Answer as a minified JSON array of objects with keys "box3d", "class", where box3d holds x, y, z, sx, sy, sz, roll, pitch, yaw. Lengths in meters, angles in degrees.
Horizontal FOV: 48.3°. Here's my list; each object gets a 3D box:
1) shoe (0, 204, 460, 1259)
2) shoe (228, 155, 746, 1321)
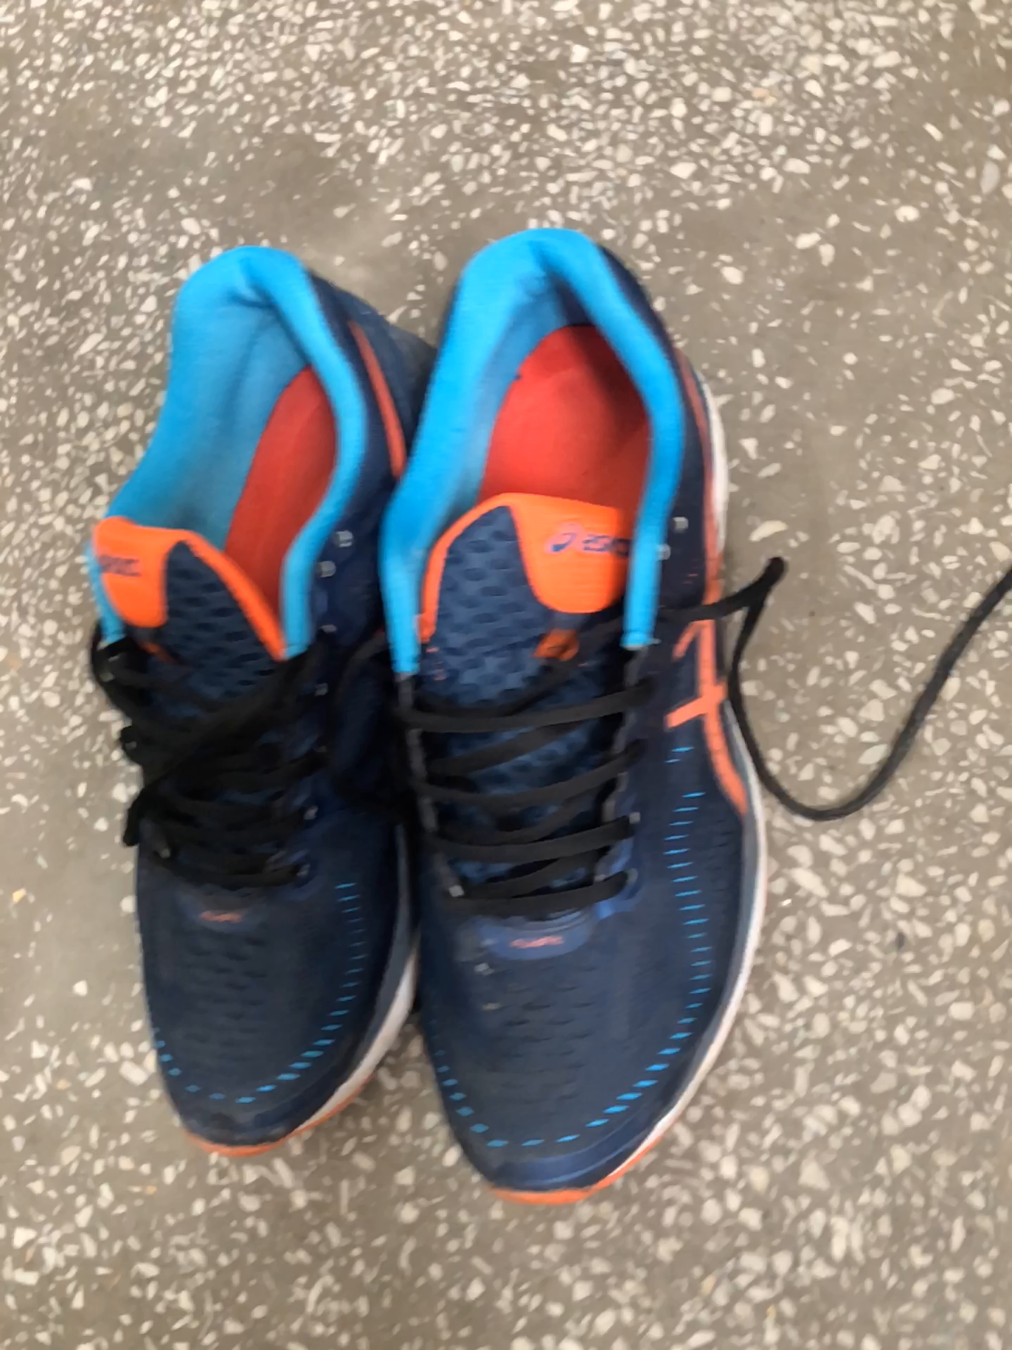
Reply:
[{"box3d":[-0.097,0.012,0.366,0.118,0.100,0.288,1,77,16],"class":"shoe"},{"box3d":[0.008,0.011,0.338,0.118,0.100,0.288,-1,77,15],"class":"shoe"}]
